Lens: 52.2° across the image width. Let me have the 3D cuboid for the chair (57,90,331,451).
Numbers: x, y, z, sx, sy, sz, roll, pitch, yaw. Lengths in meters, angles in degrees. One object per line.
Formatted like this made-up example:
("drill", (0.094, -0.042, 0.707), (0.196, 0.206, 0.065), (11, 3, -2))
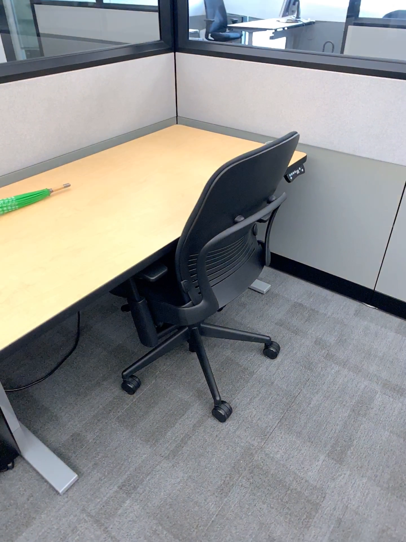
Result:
("chair", (0.010, -0.027, 1.499), (0.512, 0.994, 0.672), (21, 40, 27))
